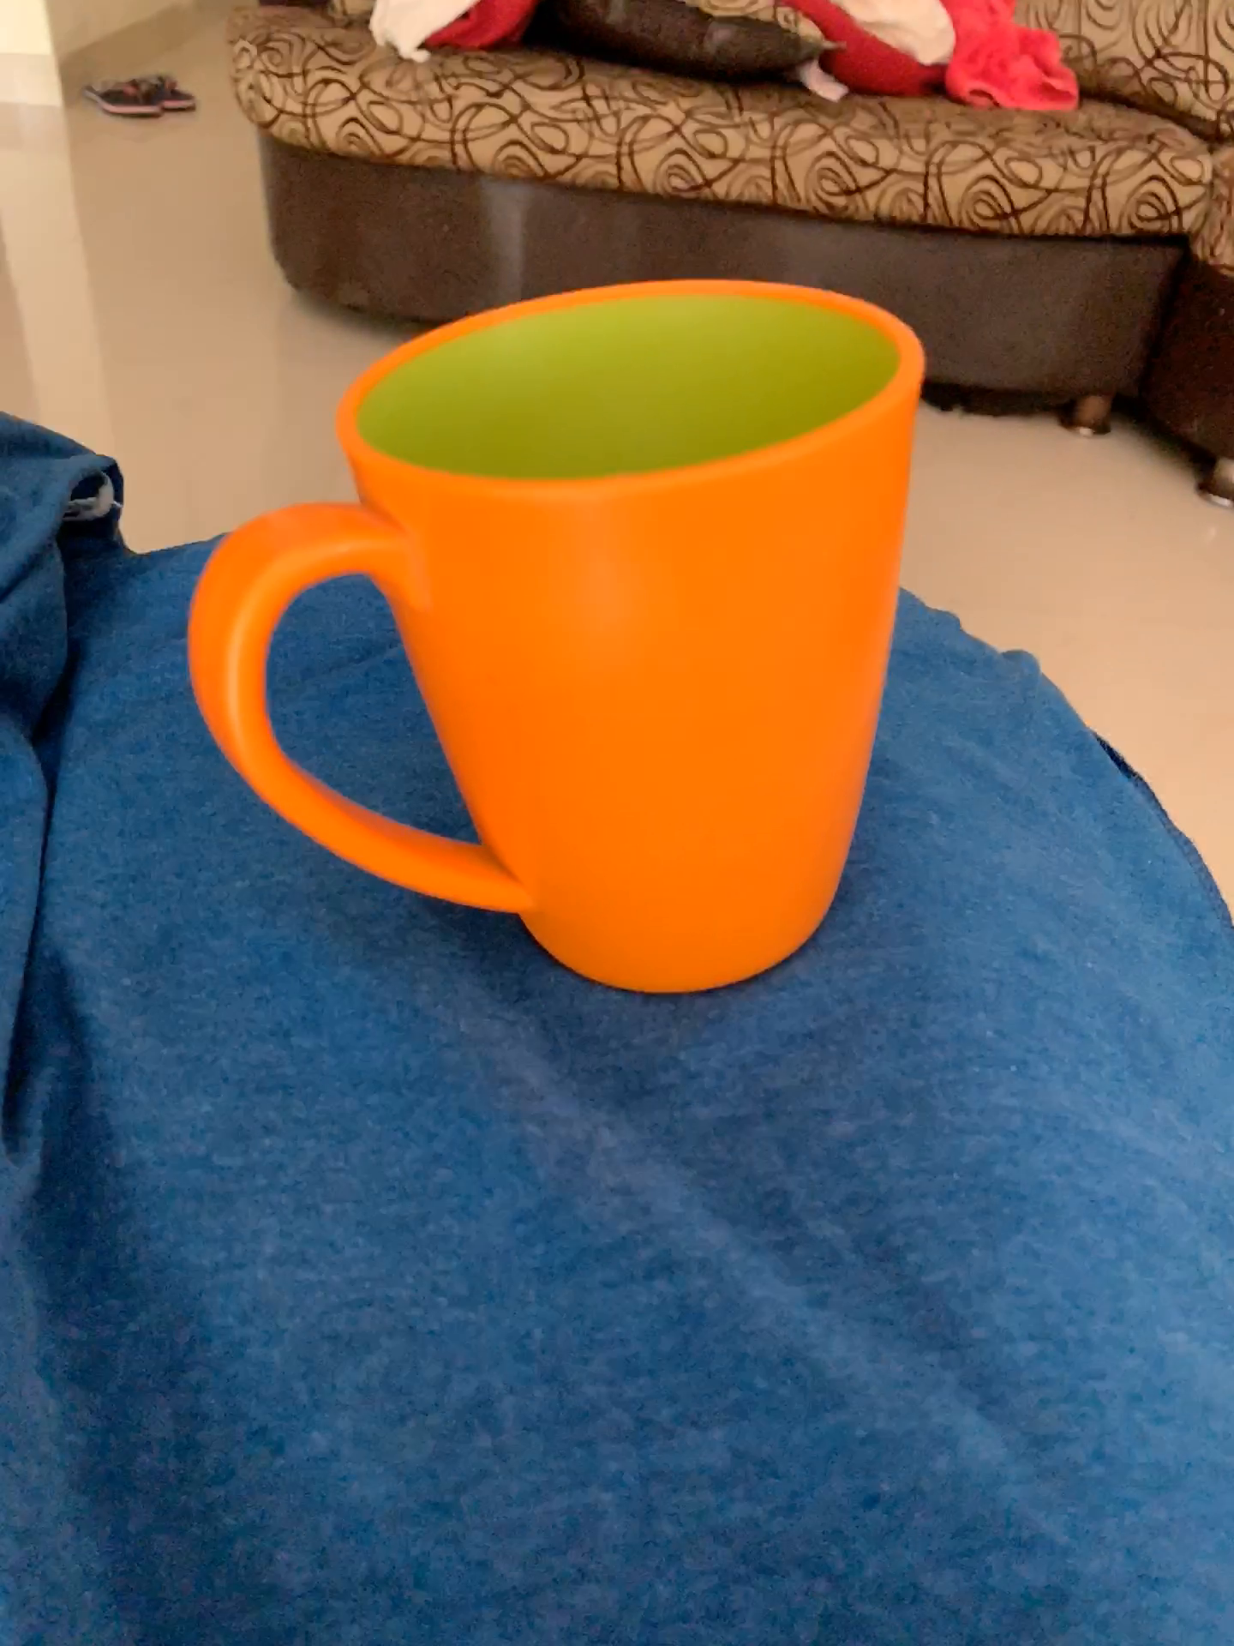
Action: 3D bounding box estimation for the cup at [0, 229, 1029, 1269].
[{"bbox_3d":[-0.012,-0.026,0.200,0.100,0.089,0.121,23,50,38],"label":"cup"}]
